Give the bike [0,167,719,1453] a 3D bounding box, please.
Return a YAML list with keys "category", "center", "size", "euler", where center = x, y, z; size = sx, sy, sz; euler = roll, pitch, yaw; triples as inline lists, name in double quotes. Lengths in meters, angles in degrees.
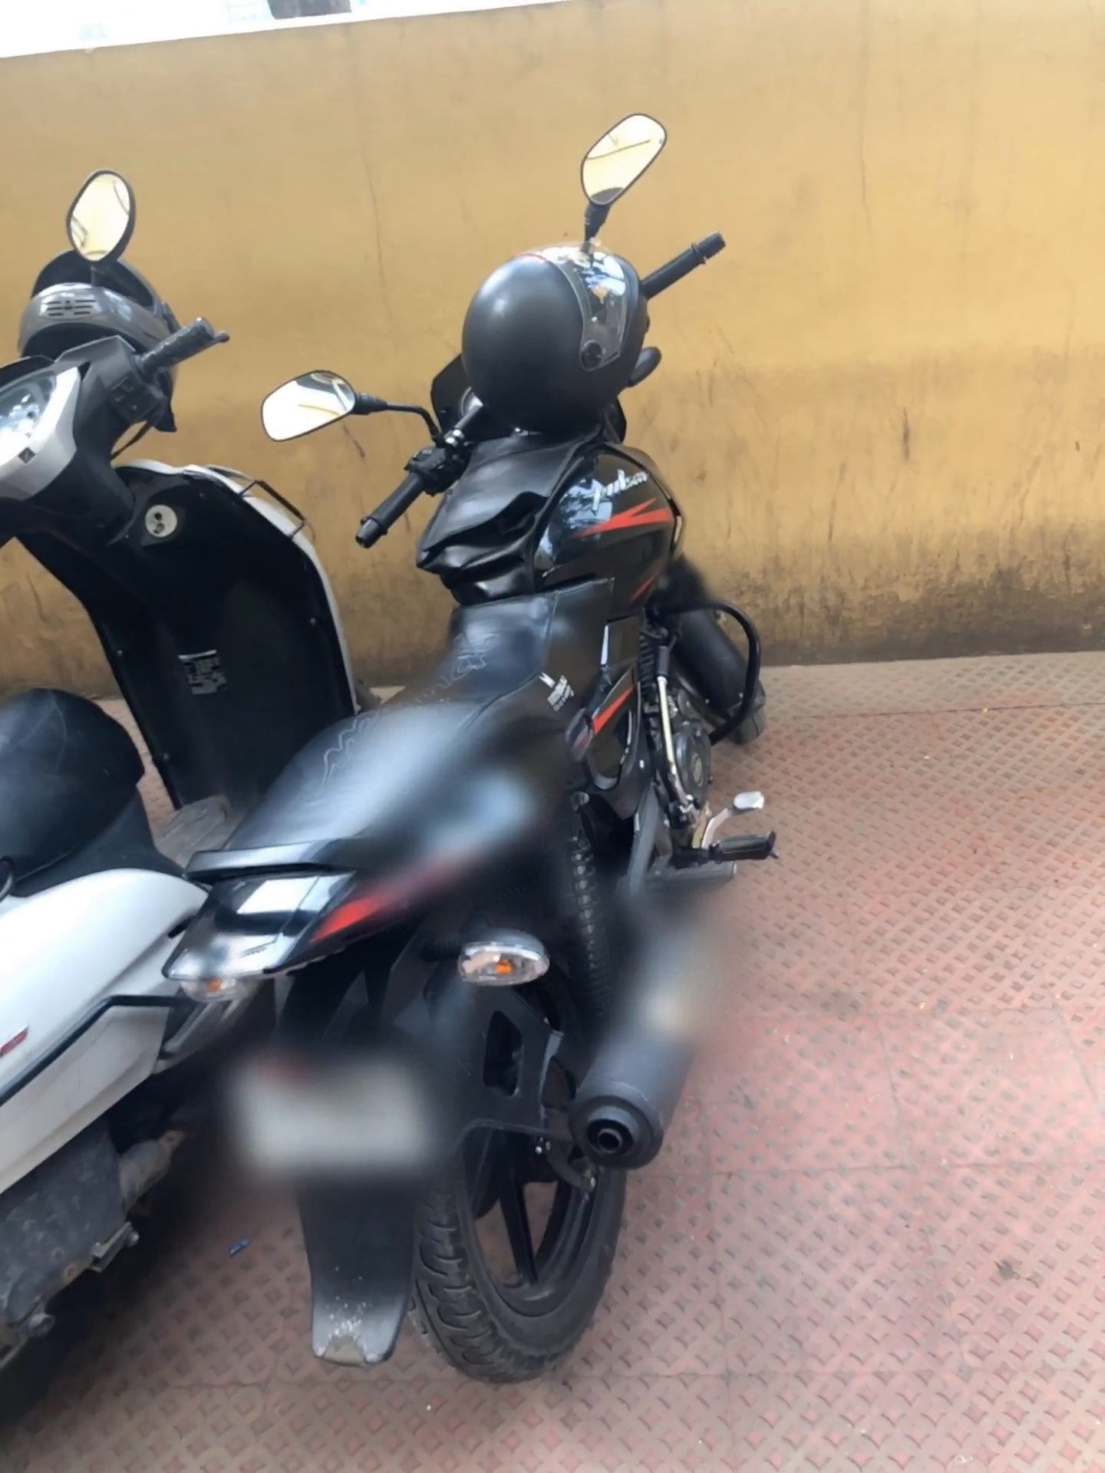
- category: "bike"
  center: [-0.198, -0.094, 1.853]
  size: [0.827, 1.056, 1.612]
  euler: [-1, 35, 8]
